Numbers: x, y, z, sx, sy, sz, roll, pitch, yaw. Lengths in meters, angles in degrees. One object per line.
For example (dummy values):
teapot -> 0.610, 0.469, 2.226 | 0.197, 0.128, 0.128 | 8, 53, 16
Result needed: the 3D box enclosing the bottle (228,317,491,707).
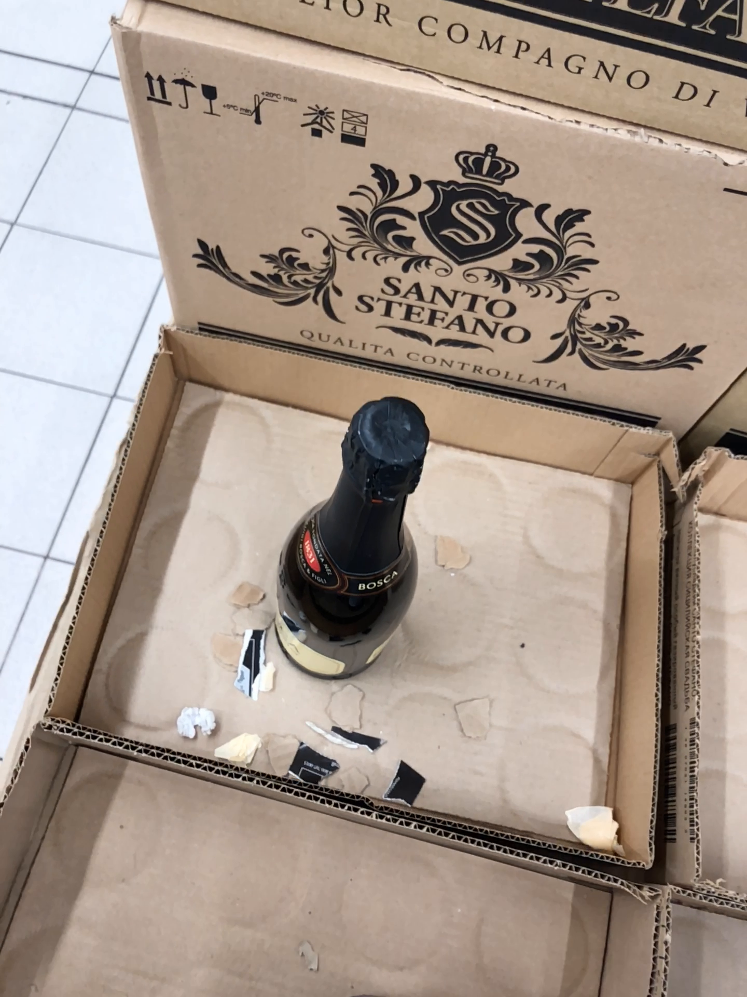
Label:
bottle -> -0.018, 0.035, 0.446 | 0.080, 0.309, 0.090 | -10, 69, -8
